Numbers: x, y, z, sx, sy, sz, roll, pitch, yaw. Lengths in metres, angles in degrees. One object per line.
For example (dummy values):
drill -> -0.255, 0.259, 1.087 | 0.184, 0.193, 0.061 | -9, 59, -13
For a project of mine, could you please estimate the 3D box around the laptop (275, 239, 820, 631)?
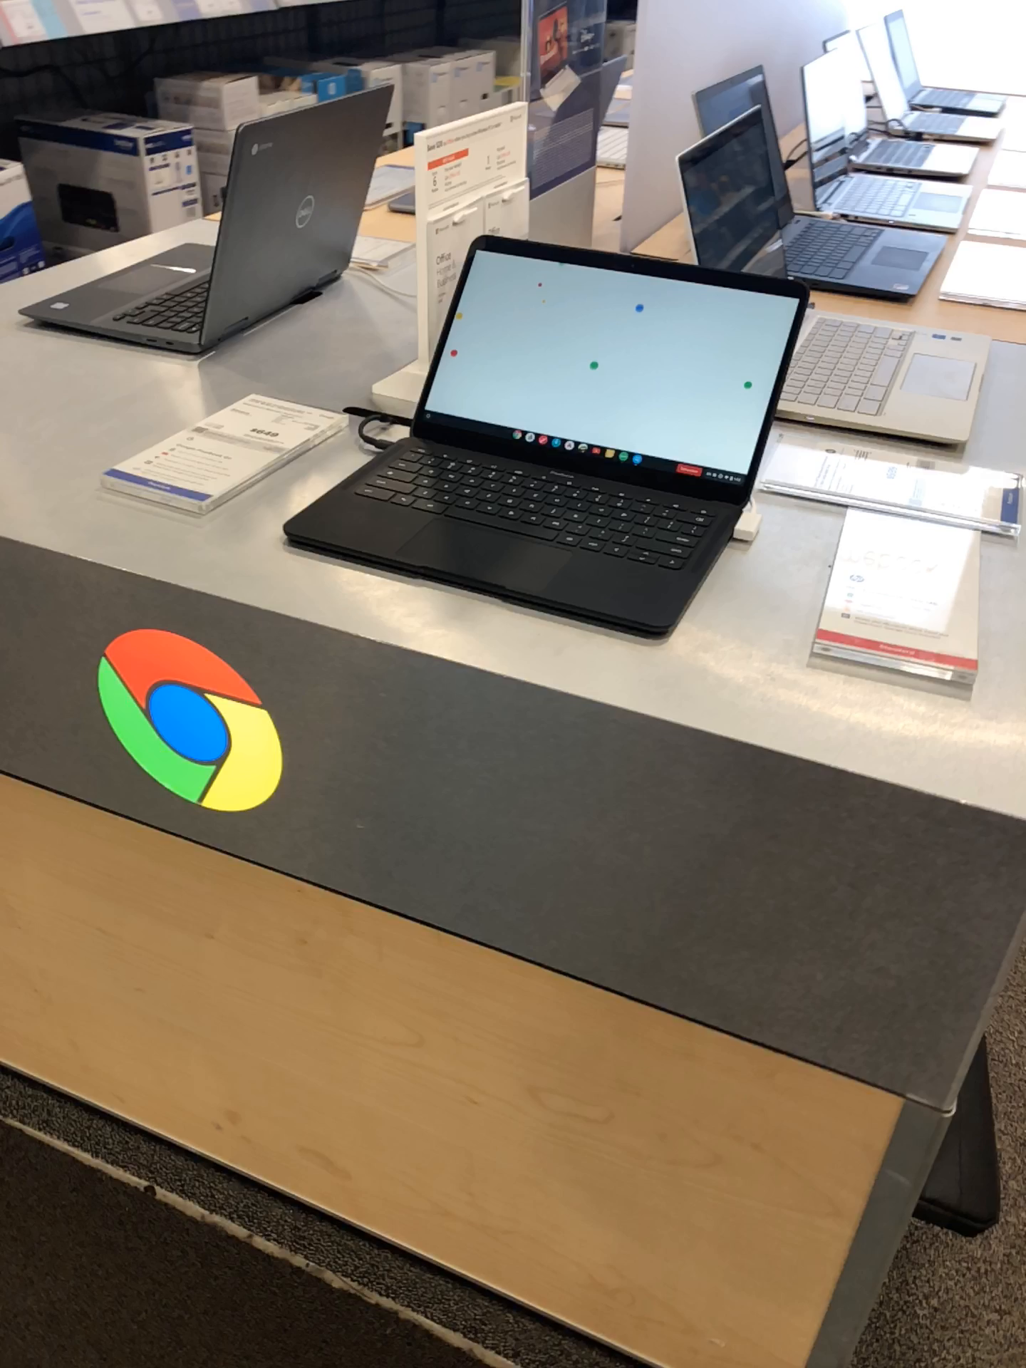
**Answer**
laptop -> 0.043, -0.215, 0.869 | 0.293, 0.134, 0.336 | 16, 38, 18
